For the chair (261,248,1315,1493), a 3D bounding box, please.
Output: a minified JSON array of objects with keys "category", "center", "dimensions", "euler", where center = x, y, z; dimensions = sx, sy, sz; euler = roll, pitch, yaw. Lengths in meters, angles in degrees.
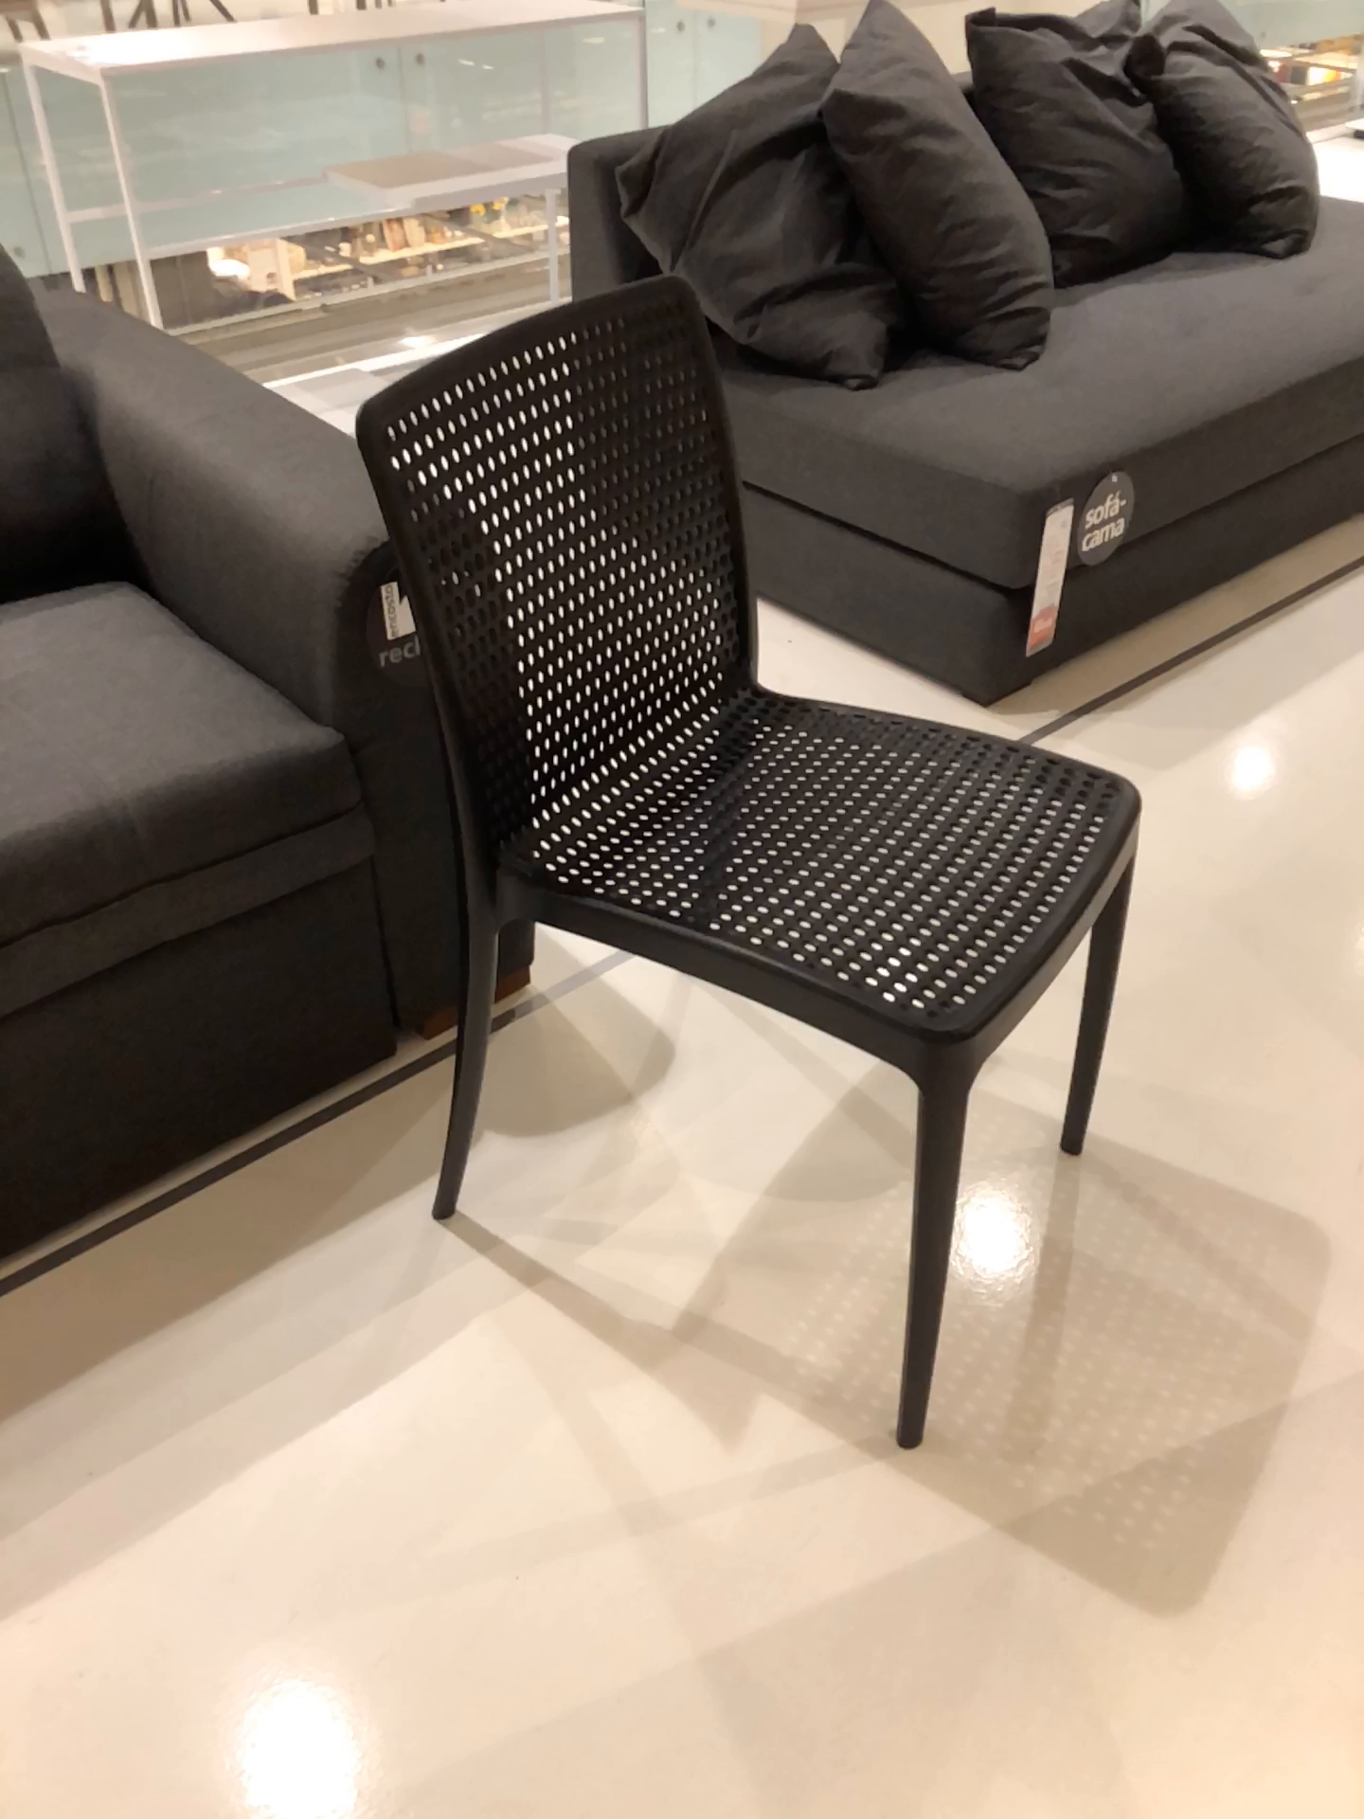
[{"category":"chair","center":[0.101,-0.062,1.291],"dimensions":[0.561,0.784,0.533],"euler":[20,41,25]}]
